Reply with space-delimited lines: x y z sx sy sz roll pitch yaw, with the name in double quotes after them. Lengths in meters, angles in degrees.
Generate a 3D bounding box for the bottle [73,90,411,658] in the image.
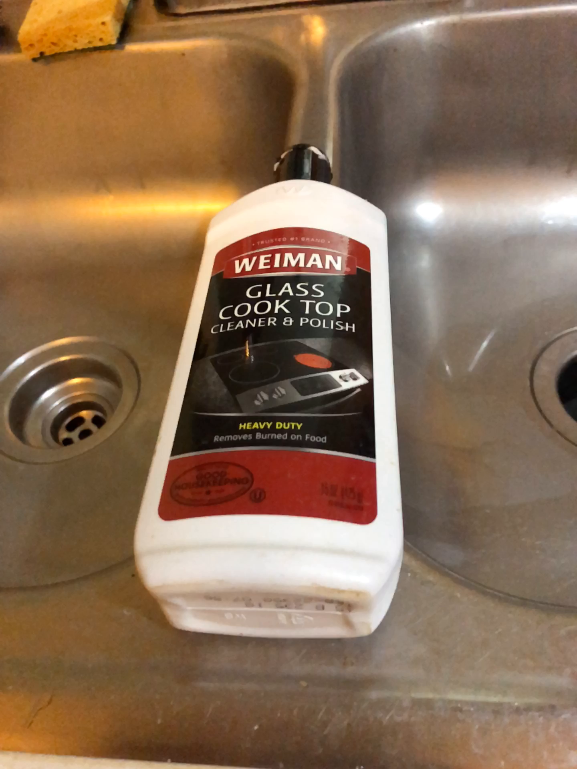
-0.002 -0.029 0.246 0.080 0.050 0.240 -2 49 7 "bottle"
